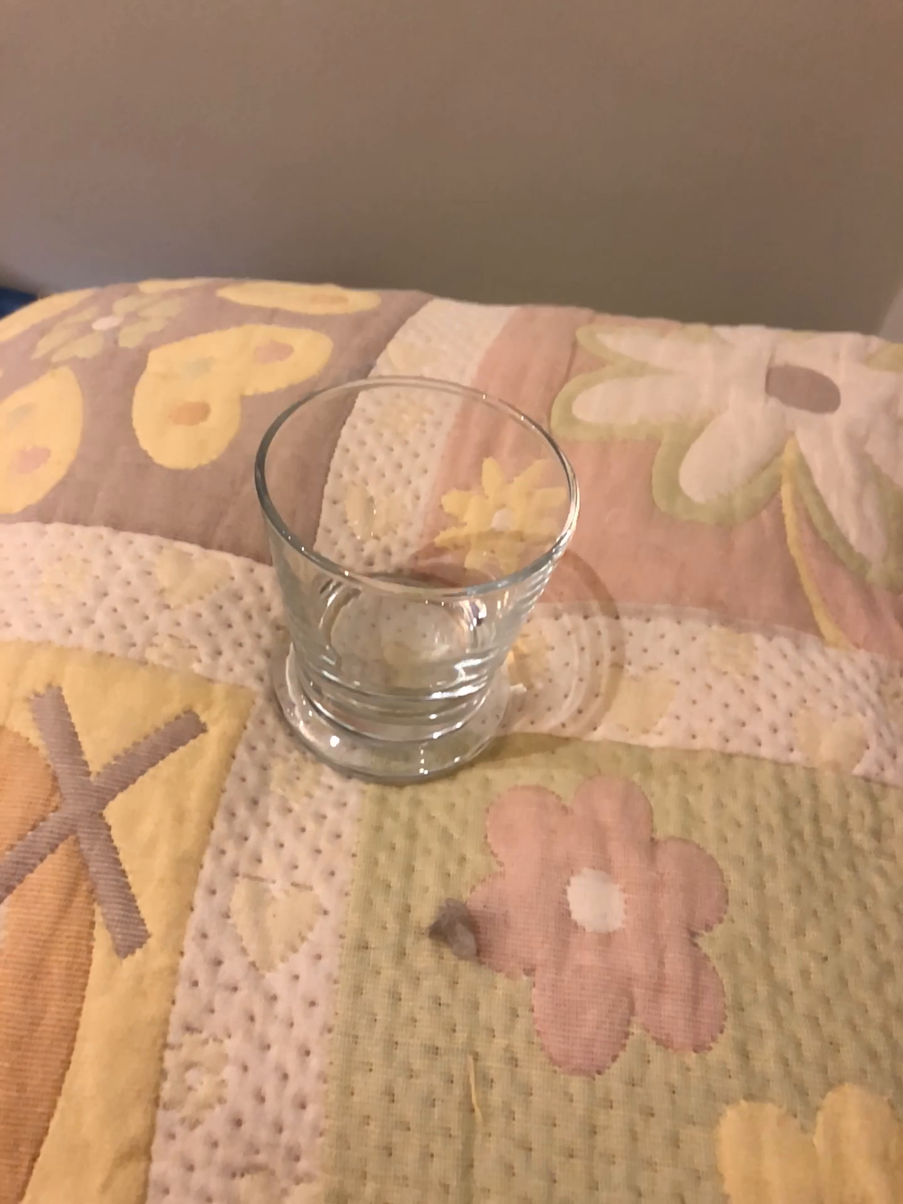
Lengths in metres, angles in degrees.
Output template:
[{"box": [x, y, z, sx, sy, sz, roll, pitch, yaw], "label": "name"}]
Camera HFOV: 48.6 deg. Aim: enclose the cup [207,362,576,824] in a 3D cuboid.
[{"box": [-0.020, 0.000, 0.275, 0.080, 0.089, 0.080, 6, 49, -7], "label": "cup"}]
